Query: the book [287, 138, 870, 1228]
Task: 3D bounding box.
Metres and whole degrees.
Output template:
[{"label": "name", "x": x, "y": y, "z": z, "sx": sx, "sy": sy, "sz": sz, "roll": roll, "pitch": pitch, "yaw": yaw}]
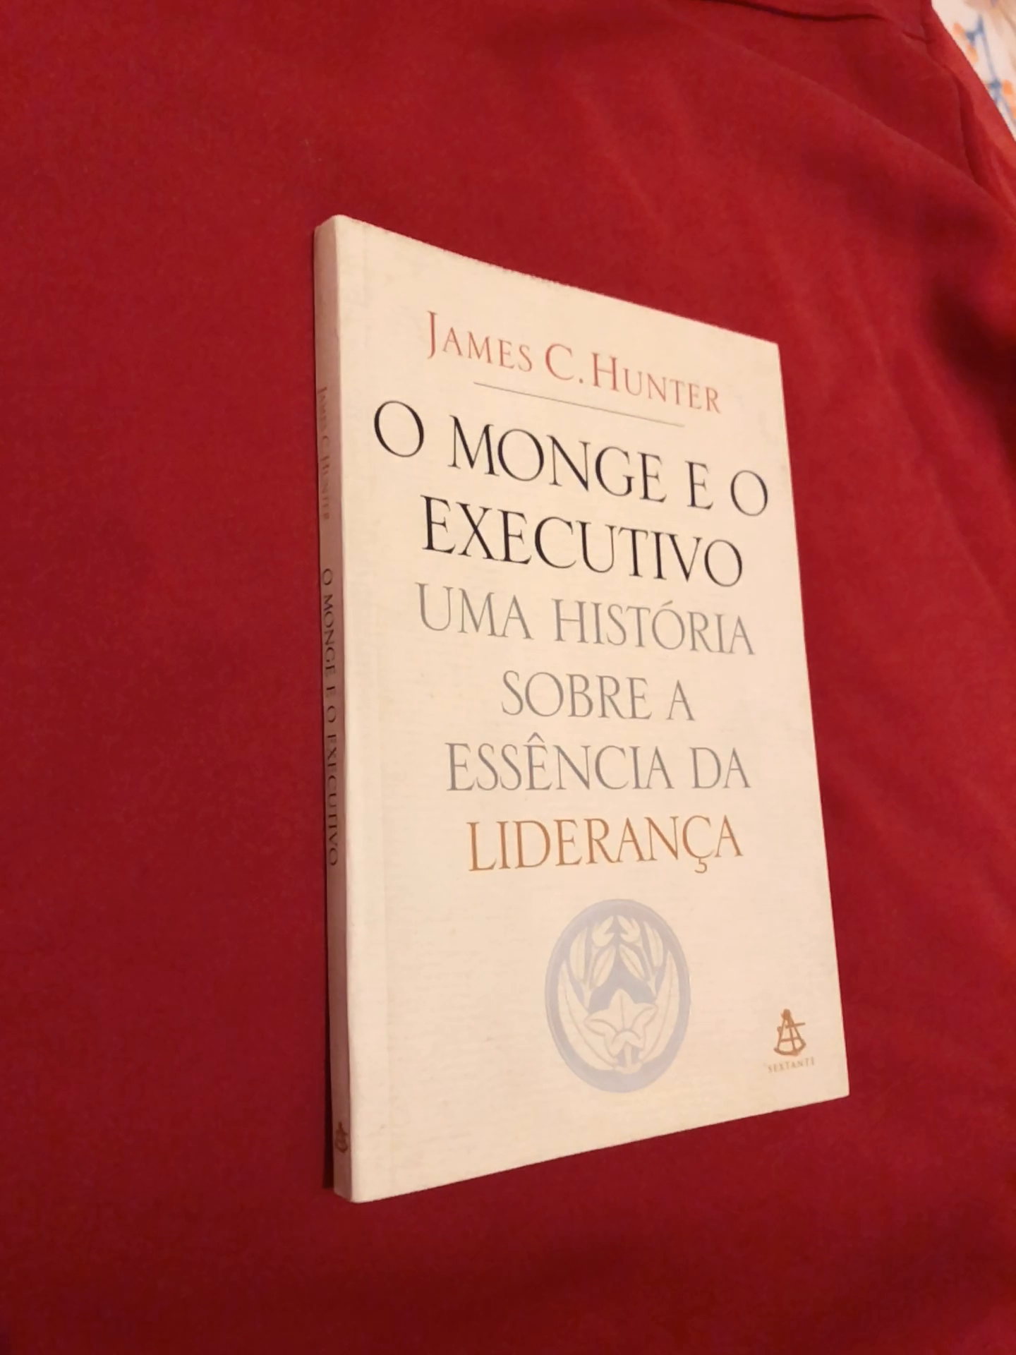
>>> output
[{"label": "book", "x": 0.019, "y": -0.002, "z": 0.276, "sx": 0.140, "sy": 0.030, "sz": 0.220, "roll": 4, "pitch": 77, "yaw": -35}]
